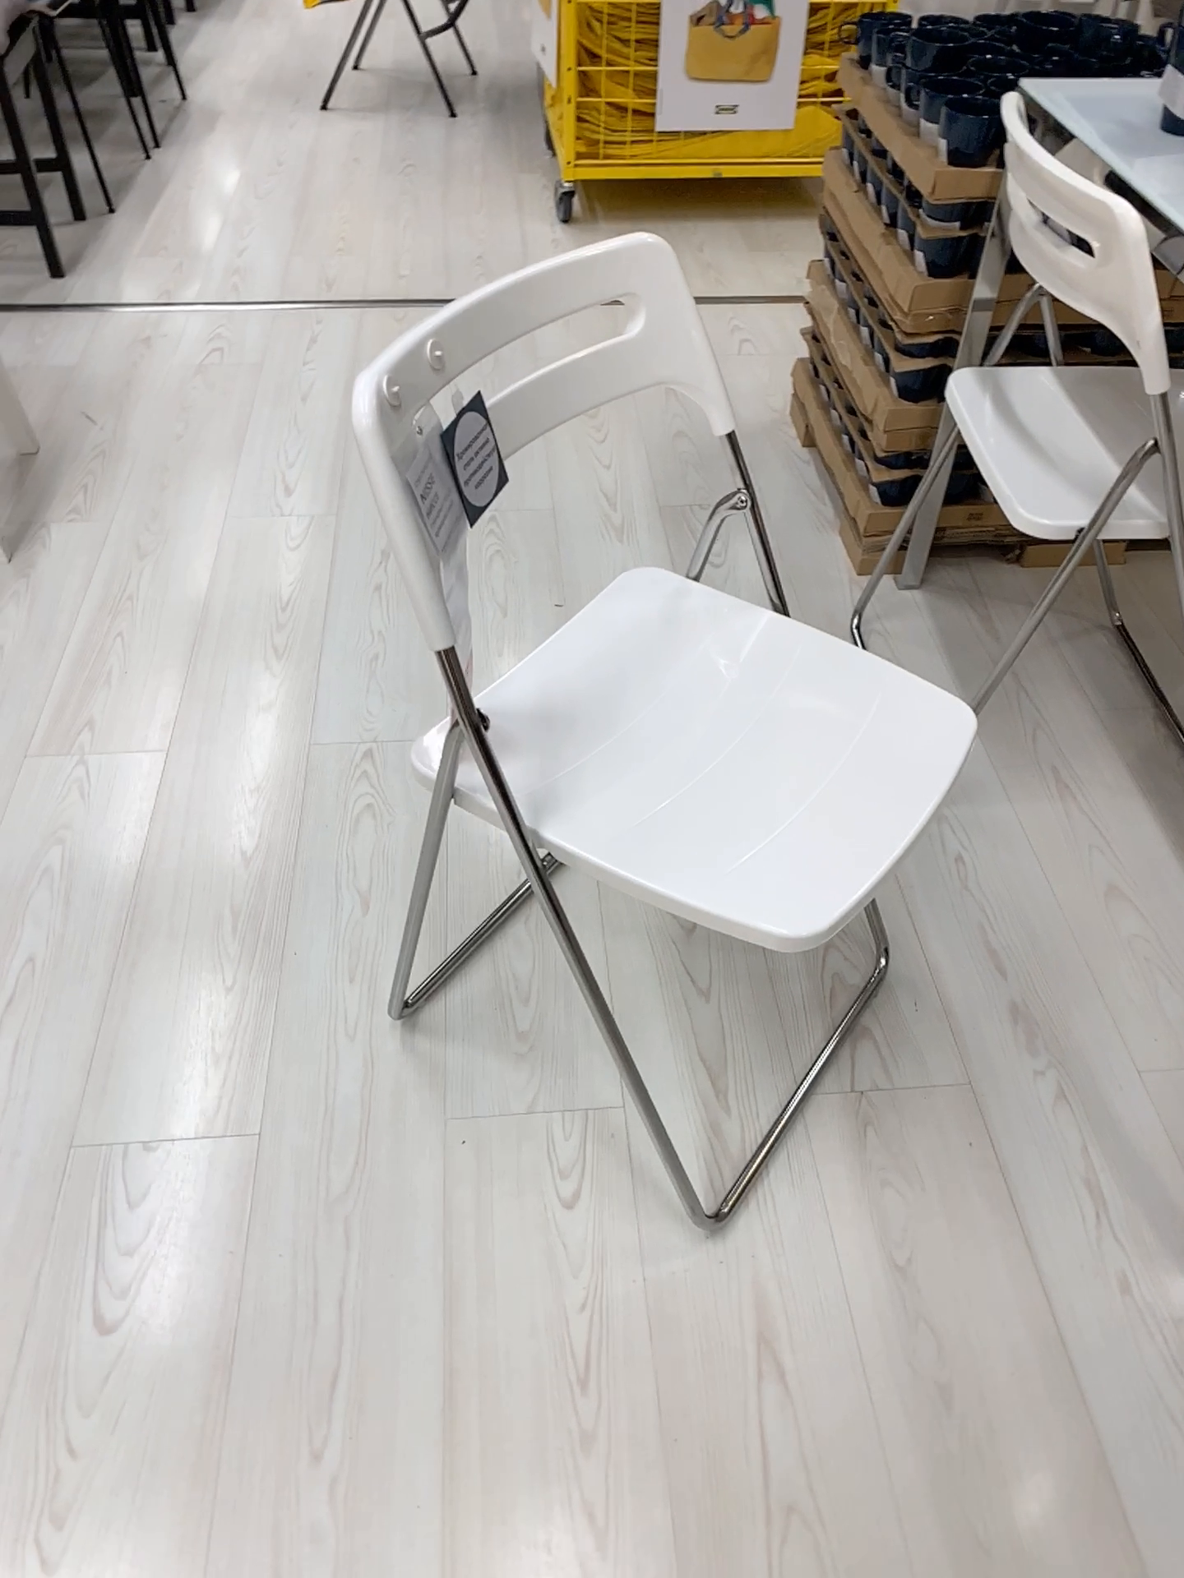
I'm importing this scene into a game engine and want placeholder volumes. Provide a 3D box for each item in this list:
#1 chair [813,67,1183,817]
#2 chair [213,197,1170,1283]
[{"bbox_3d":[0.637,-0.421,1.509,0.510,0.726,0.533,-2,44,-4],"label":"chair"},{"bbox_3d":[0.085,-0.050,1.120,0.501,0.716,0.512,26,49,24],"label":"chair"}]
